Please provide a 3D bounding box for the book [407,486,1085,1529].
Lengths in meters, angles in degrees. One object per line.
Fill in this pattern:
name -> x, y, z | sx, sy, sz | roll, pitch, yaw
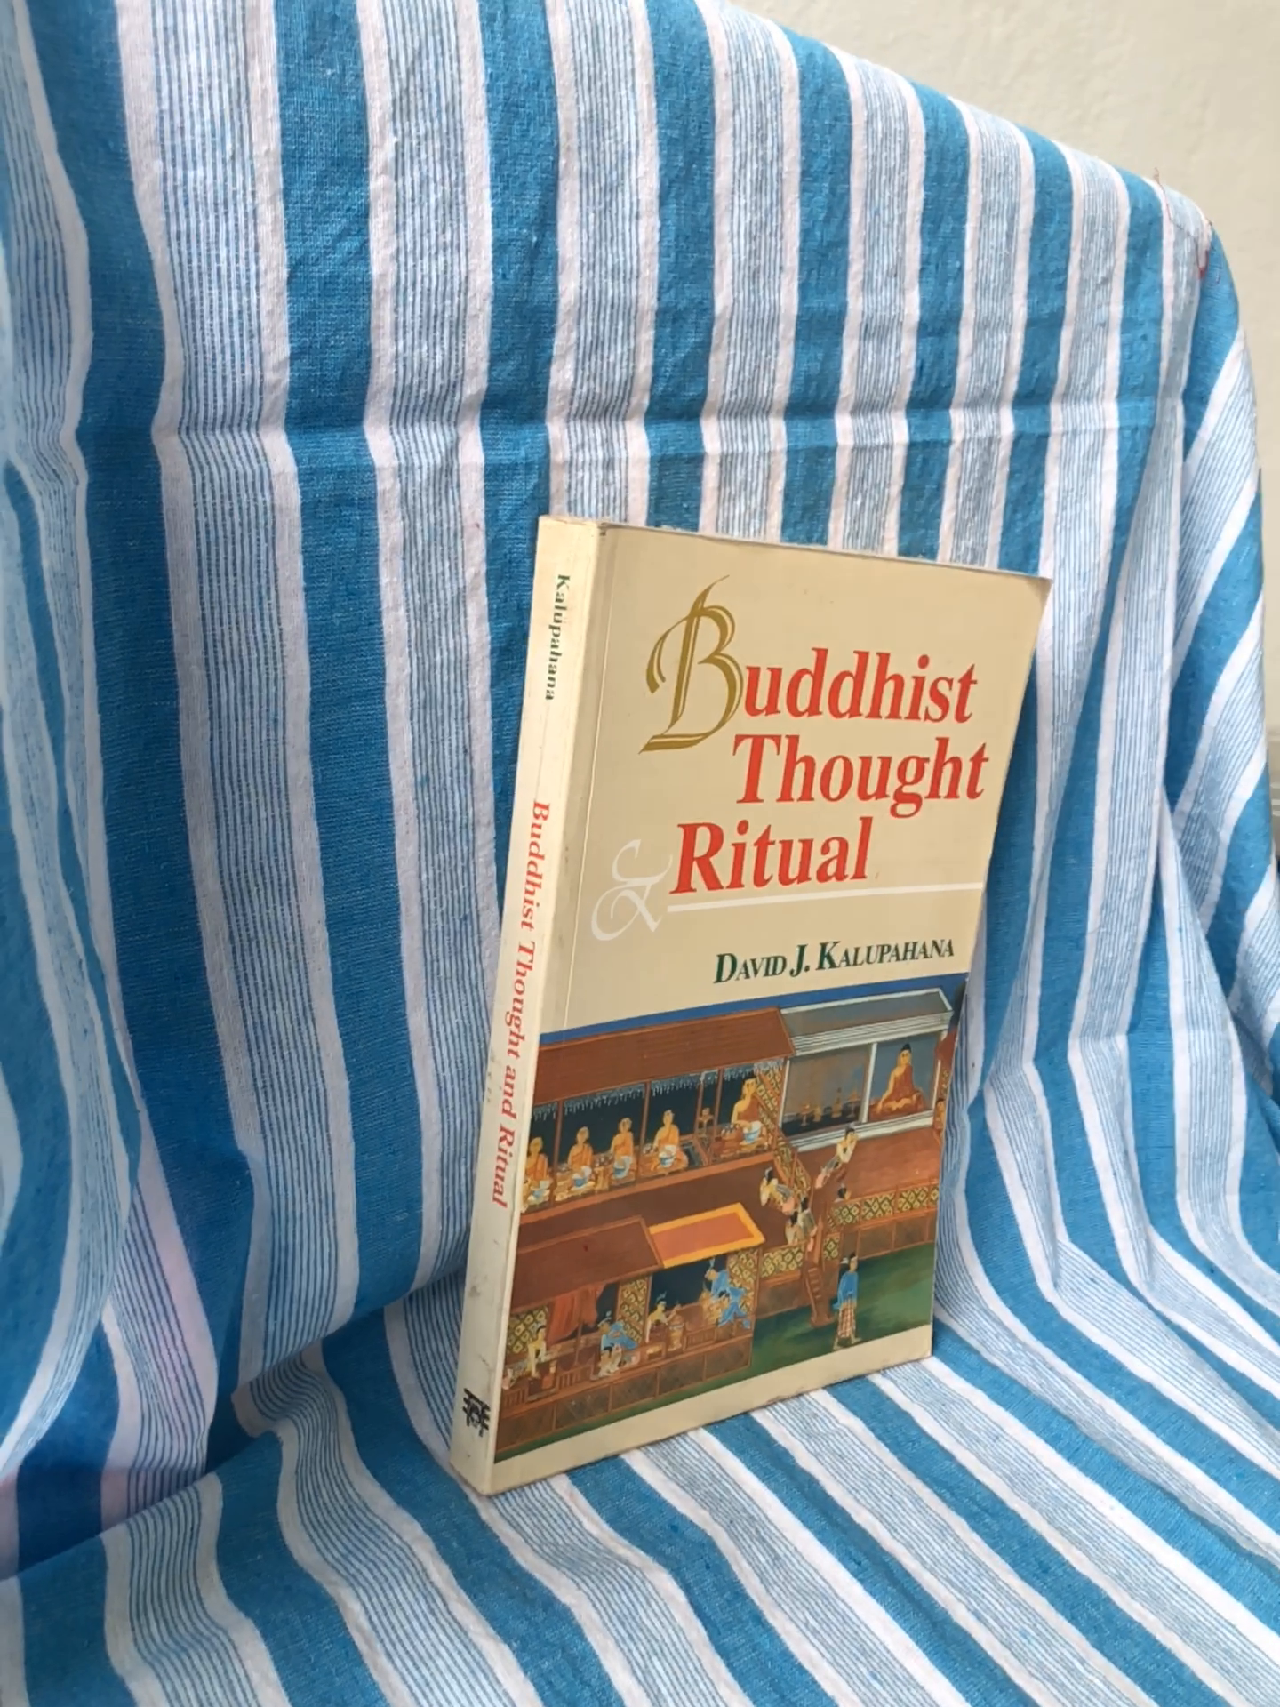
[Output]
book -> 0.028, 0.035, 0.336 | 0.151, 0.219, 0.020 | -2, 16, -36
